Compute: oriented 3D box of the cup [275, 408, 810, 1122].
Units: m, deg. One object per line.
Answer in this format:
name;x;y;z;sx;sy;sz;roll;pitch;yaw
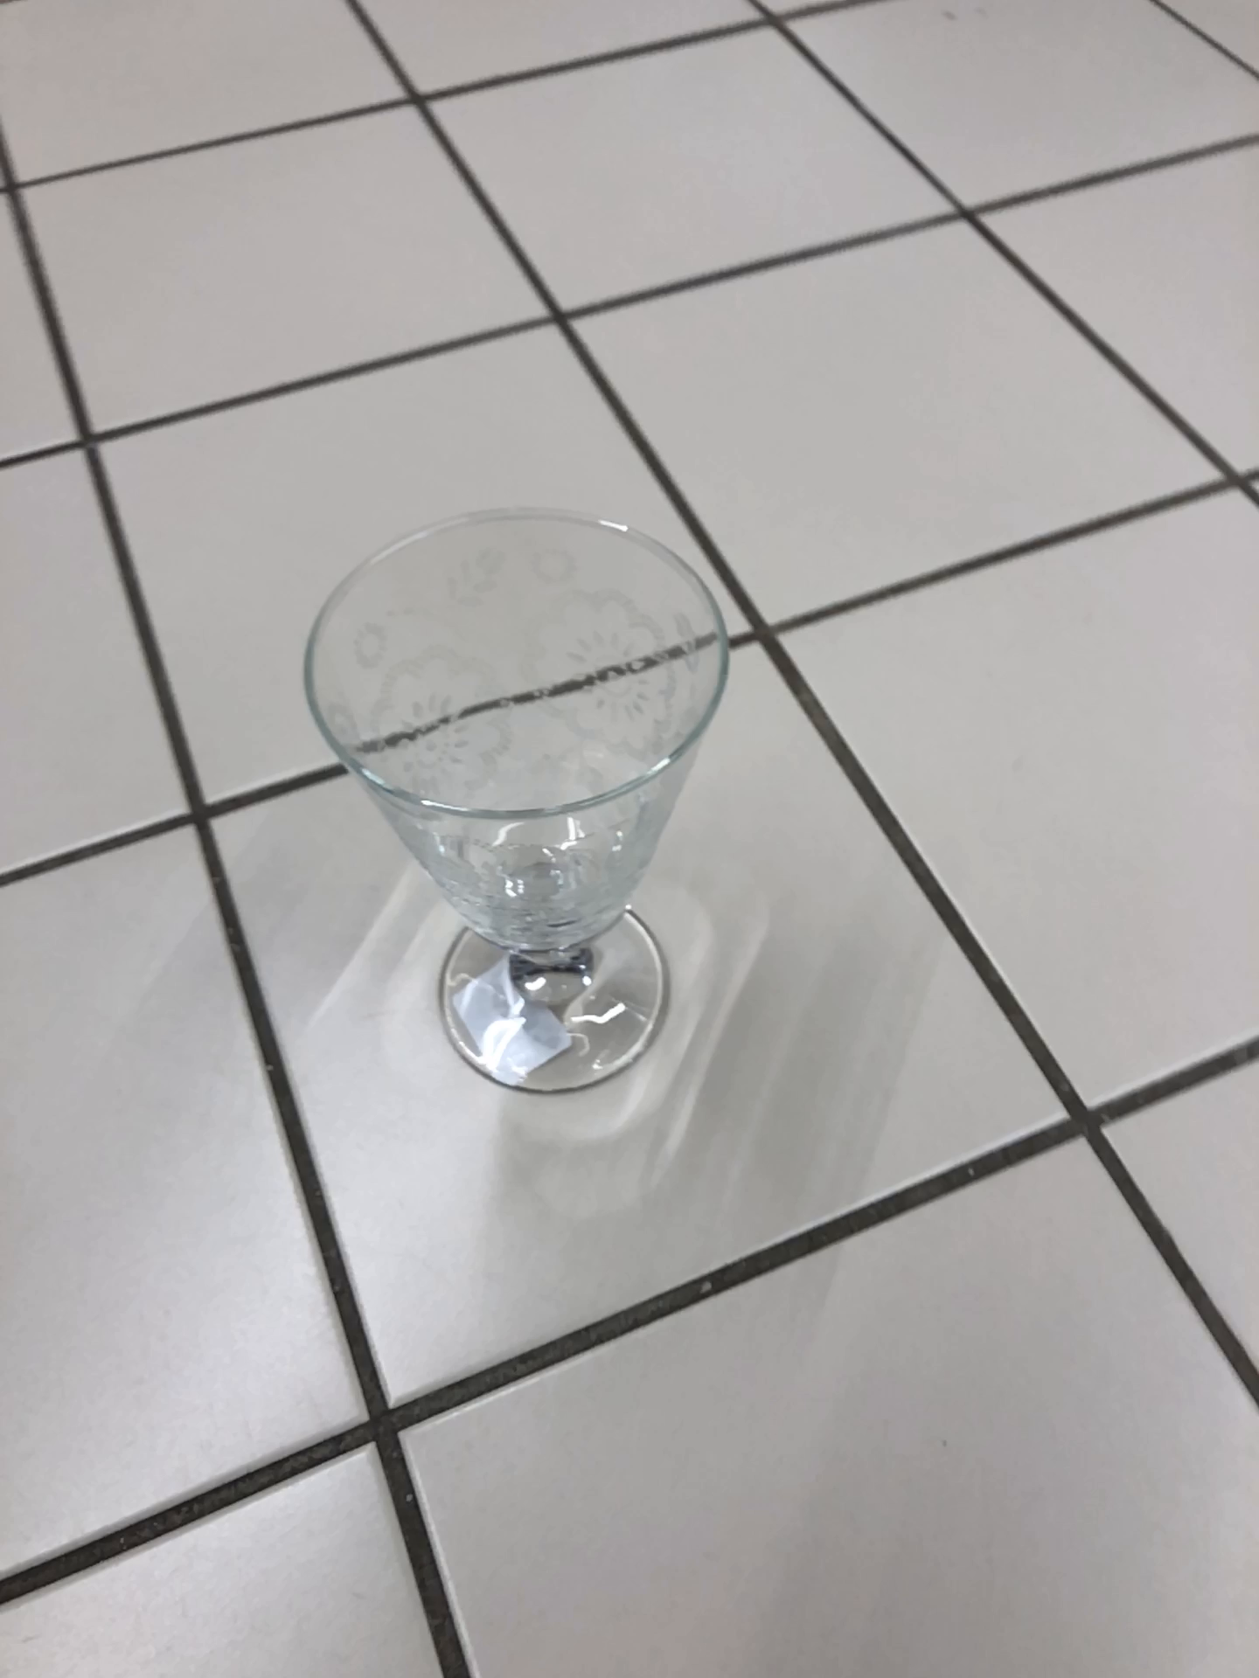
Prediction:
cup;-0.021;-0.012;0.339;0.095;0.138;0.095;-1;55;1
